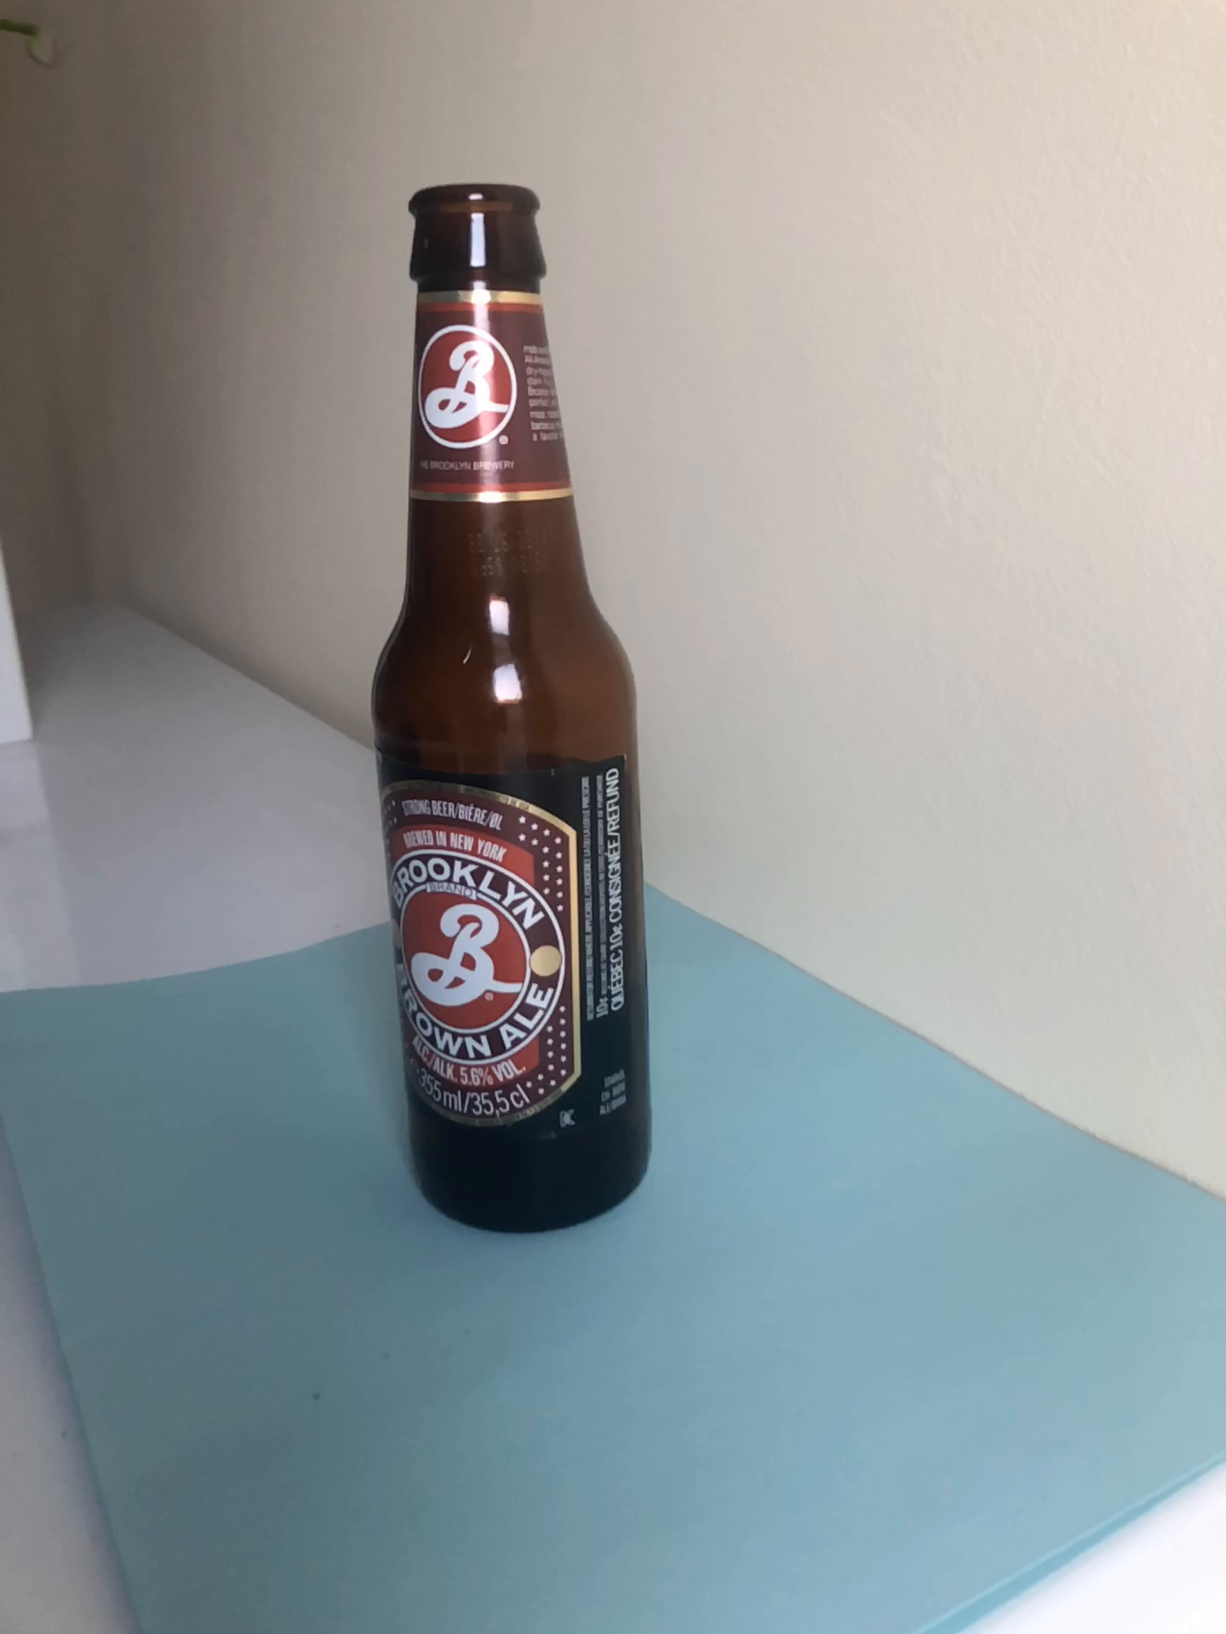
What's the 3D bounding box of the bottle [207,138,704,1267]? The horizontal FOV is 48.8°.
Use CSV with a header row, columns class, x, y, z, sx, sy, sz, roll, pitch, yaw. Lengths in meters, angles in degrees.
class,x,y,z,sx,sy,sz,roll,pitch,yaw
bottle,-0.027,-0.022,0.312,0.070,0.229,0.070,-2,18,1
